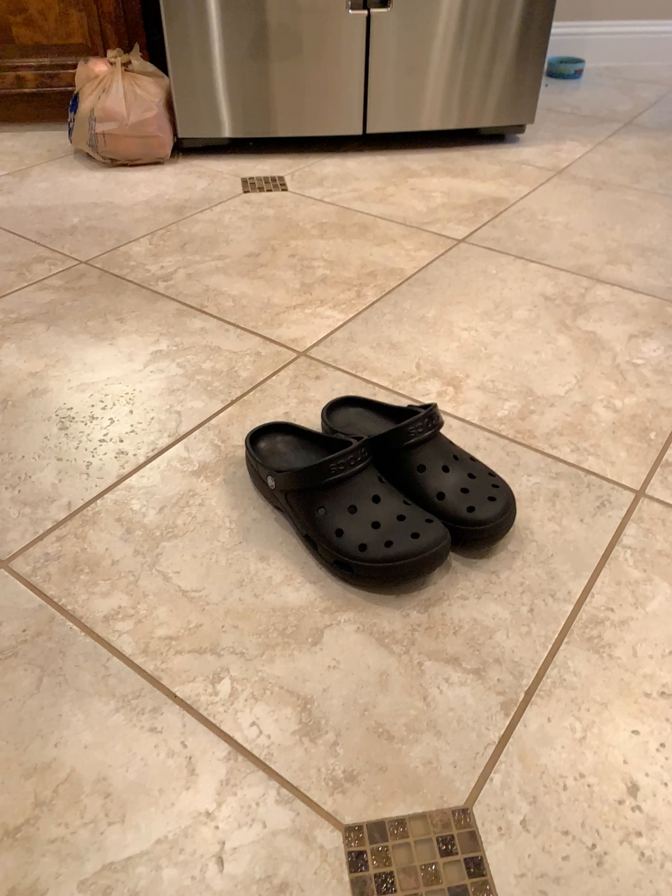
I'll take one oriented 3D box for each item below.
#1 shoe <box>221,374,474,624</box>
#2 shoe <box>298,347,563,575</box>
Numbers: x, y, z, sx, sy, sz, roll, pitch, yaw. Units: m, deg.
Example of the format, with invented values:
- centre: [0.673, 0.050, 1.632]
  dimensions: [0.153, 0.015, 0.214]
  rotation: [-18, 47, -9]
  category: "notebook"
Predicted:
- centre: [0.001, 0.039, 0.735]
  dimensions: [0.113, 0.085, 0.279]
  rotation: [-26, 47, -28]
  category: "shoe"
- centre: [0.094, 0.001, 0.779]
  dimensions: [0.124, 0.085, 0.279]
  rotation: [-29, 49, -30]
  category: "shoe"
